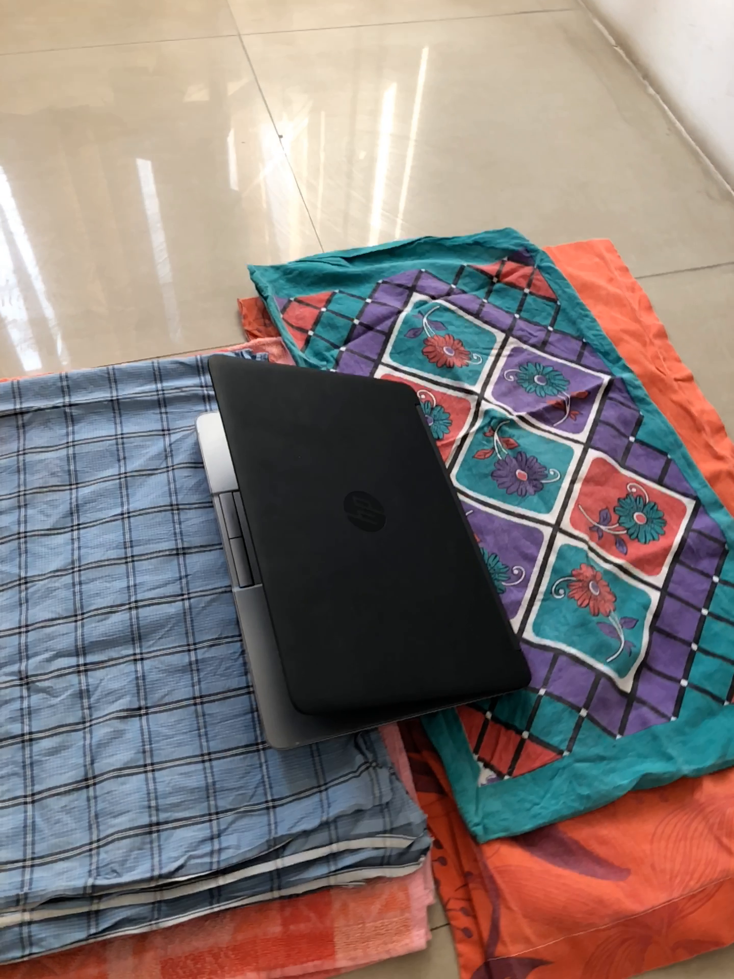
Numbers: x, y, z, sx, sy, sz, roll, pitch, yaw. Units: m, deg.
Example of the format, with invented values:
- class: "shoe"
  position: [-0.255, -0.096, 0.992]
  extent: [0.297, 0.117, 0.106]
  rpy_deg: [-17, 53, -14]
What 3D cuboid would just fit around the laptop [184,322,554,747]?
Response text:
- class: "laptop"
  position: [-0.012, 0.021, 0.687]
  extent: [0.212, 0.099, 0.322]
  rpy_deg: [-10, 61, -18]
